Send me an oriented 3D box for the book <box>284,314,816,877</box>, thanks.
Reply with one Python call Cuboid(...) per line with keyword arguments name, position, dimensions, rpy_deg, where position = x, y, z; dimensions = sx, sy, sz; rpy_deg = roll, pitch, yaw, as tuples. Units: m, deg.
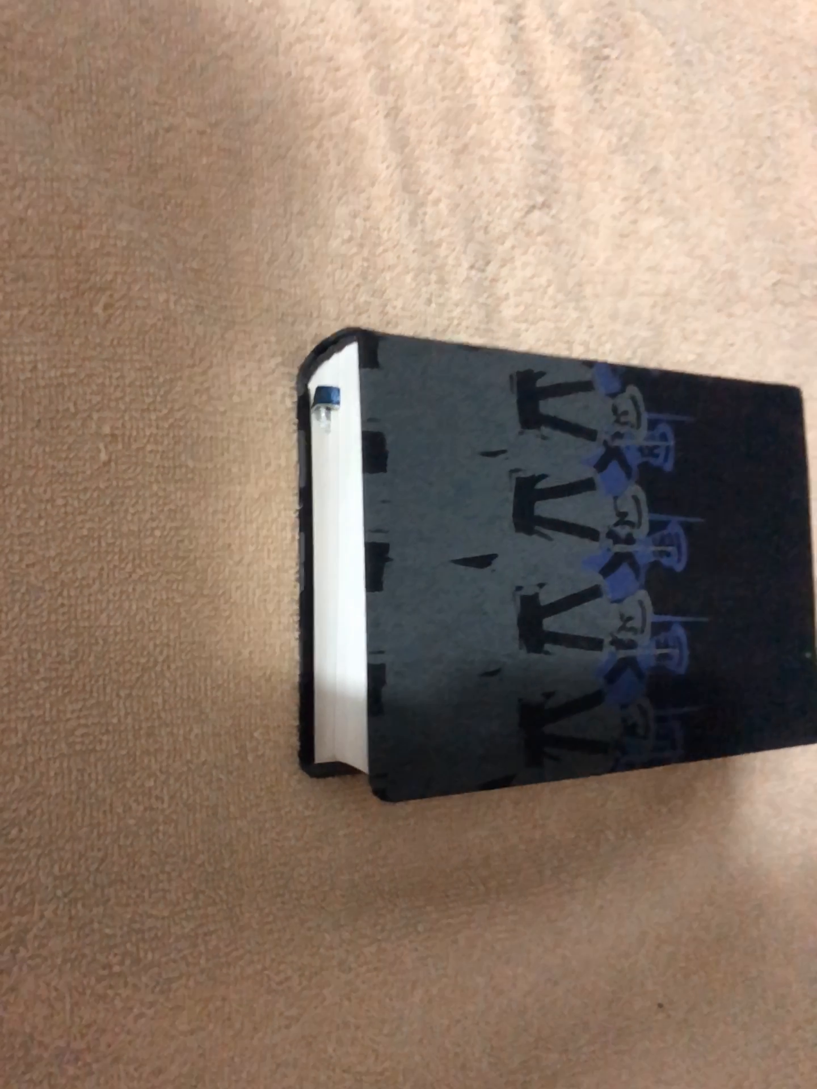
Cuboid(name="book", position=(0.060, 0.014, 0.294), dimensions=(0.191, 0.050, 0.140), rpy_deg=(1, 84, -28))
